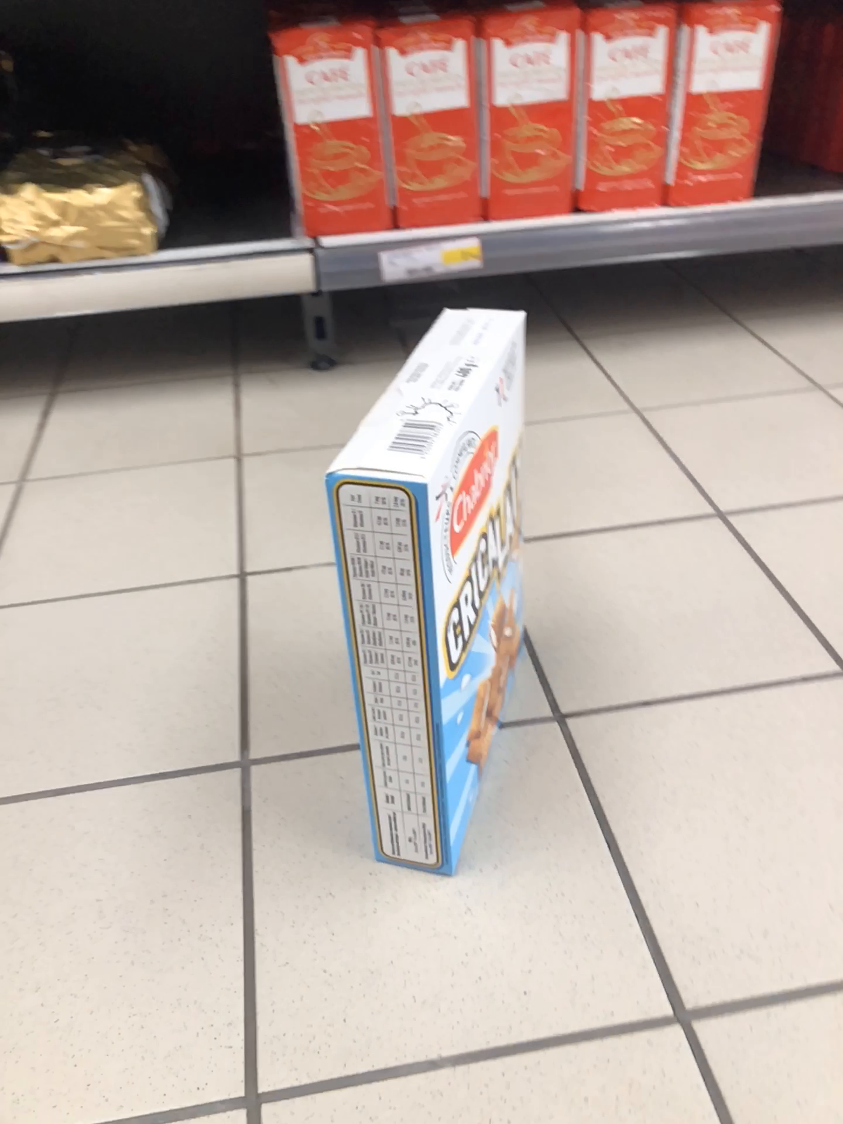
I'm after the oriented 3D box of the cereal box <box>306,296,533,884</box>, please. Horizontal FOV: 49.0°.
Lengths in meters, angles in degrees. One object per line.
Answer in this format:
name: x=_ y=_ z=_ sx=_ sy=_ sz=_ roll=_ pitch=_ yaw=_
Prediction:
cereal box: x=0.013 y=0.011 z=0.510 sx=0.050 sy=0.249 sz=0.201 roll=8 pitch=36 yaw=16
